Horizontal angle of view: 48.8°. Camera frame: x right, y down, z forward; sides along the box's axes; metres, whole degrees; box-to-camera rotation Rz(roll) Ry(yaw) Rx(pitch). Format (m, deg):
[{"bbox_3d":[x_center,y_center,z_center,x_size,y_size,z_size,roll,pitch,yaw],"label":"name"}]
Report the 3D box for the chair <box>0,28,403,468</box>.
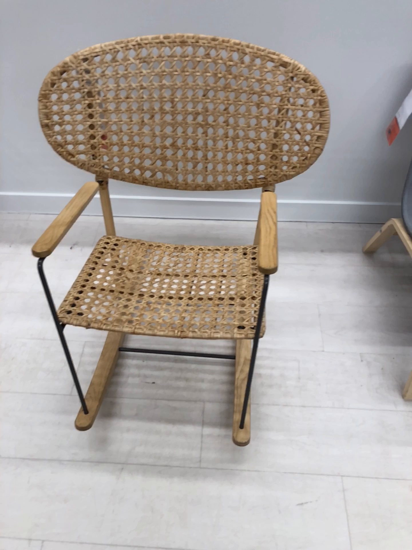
[{"bbox_3d":[-0.076,-0.082,1.261,0.830,0.787,0.853,5,49,5],"label":"chair"}]
